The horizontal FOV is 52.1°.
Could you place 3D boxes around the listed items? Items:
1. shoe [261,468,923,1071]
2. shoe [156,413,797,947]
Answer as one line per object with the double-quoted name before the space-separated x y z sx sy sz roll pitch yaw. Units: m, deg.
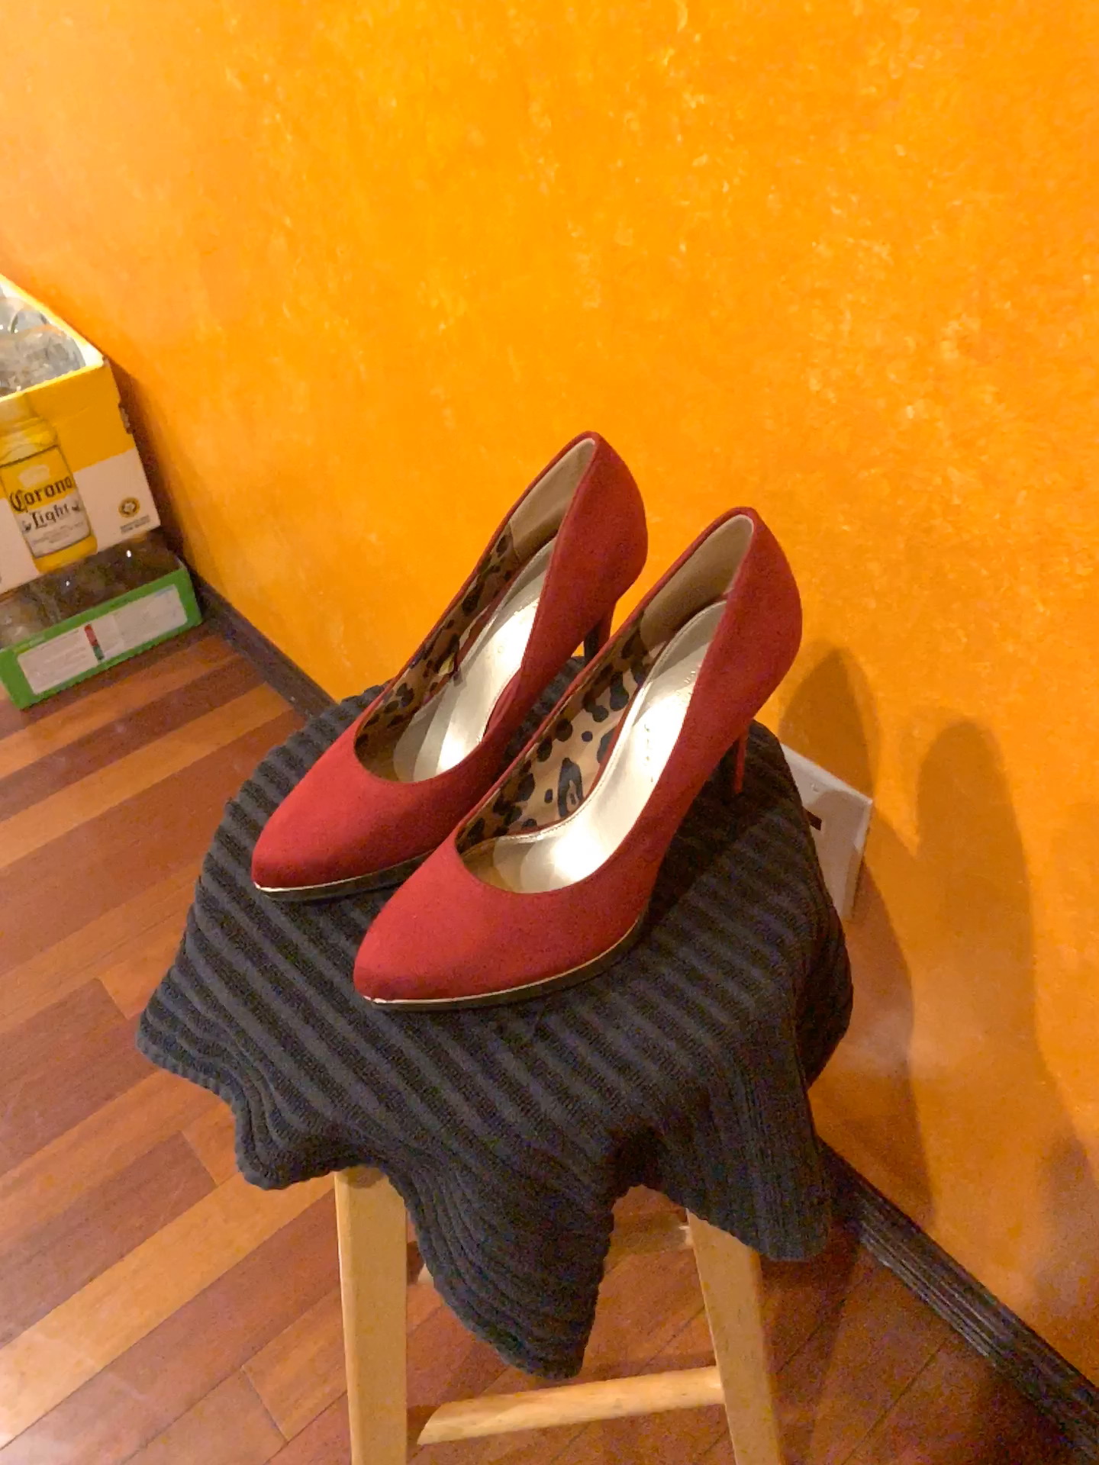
"shoe" 0.026 0.002 0.485 0.270 0.128 0.093 -29 53 -31
"shoe" -0.022 -0.040 0.545 0.290 0.119 0.100 -30 54 -32
